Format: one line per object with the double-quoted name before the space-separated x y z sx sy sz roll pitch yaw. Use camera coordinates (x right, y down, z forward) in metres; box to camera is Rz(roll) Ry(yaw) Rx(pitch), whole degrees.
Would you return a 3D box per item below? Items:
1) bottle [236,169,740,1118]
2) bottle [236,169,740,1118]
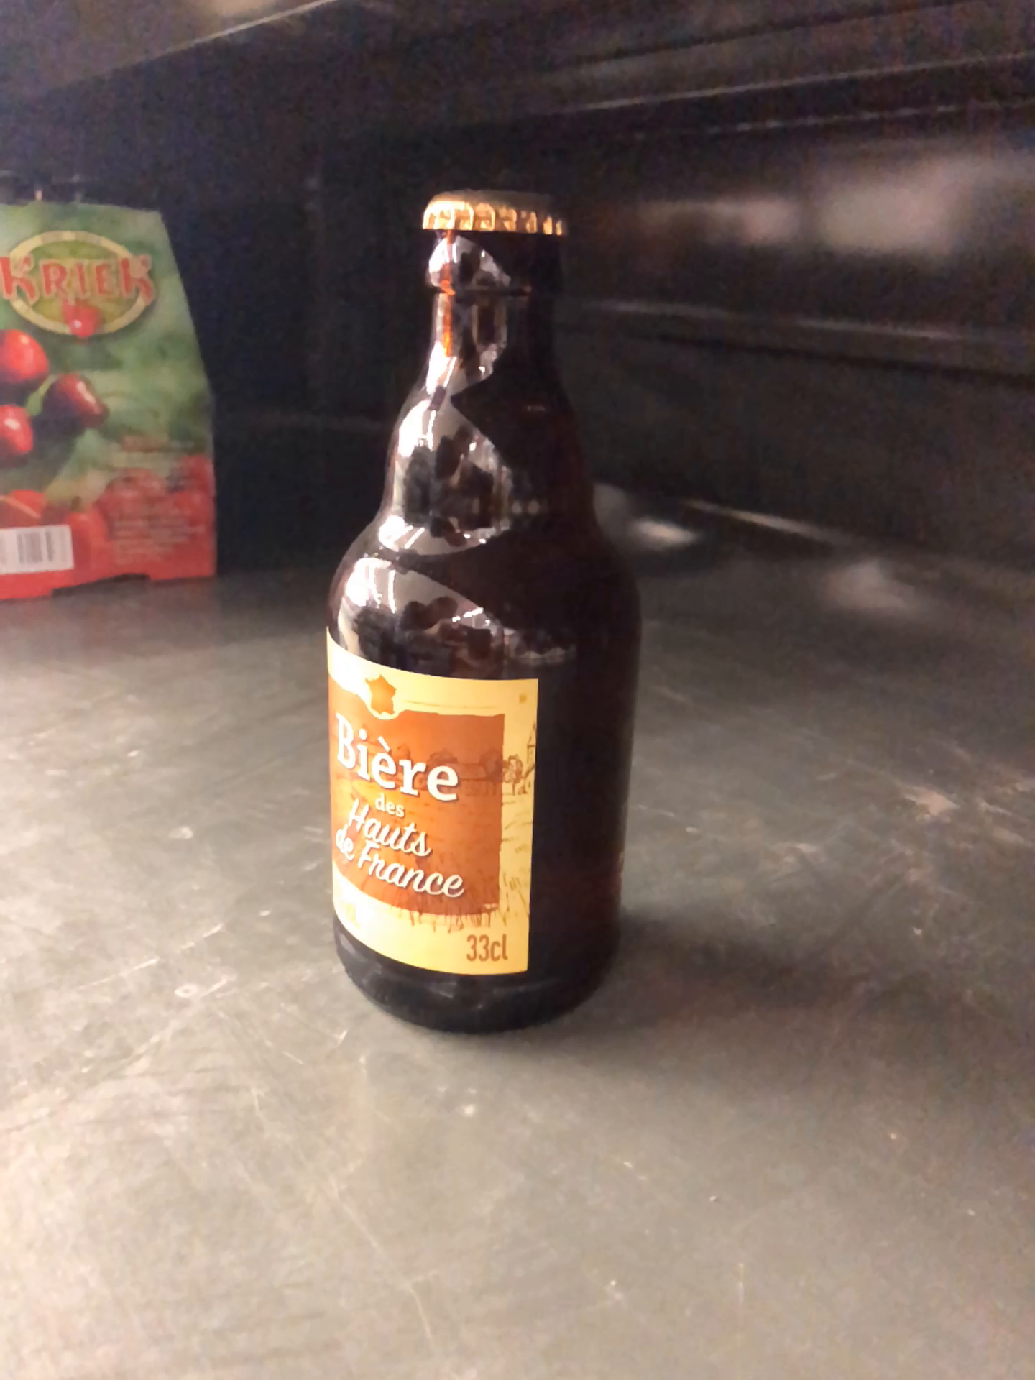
"bottle" -0.008 -0.013 0.255 0.070 0.179 0.070 2 19 -1
"bottle" -0.008 -0.013 0.255 0.070 0.179 0.070 2 19 -1
